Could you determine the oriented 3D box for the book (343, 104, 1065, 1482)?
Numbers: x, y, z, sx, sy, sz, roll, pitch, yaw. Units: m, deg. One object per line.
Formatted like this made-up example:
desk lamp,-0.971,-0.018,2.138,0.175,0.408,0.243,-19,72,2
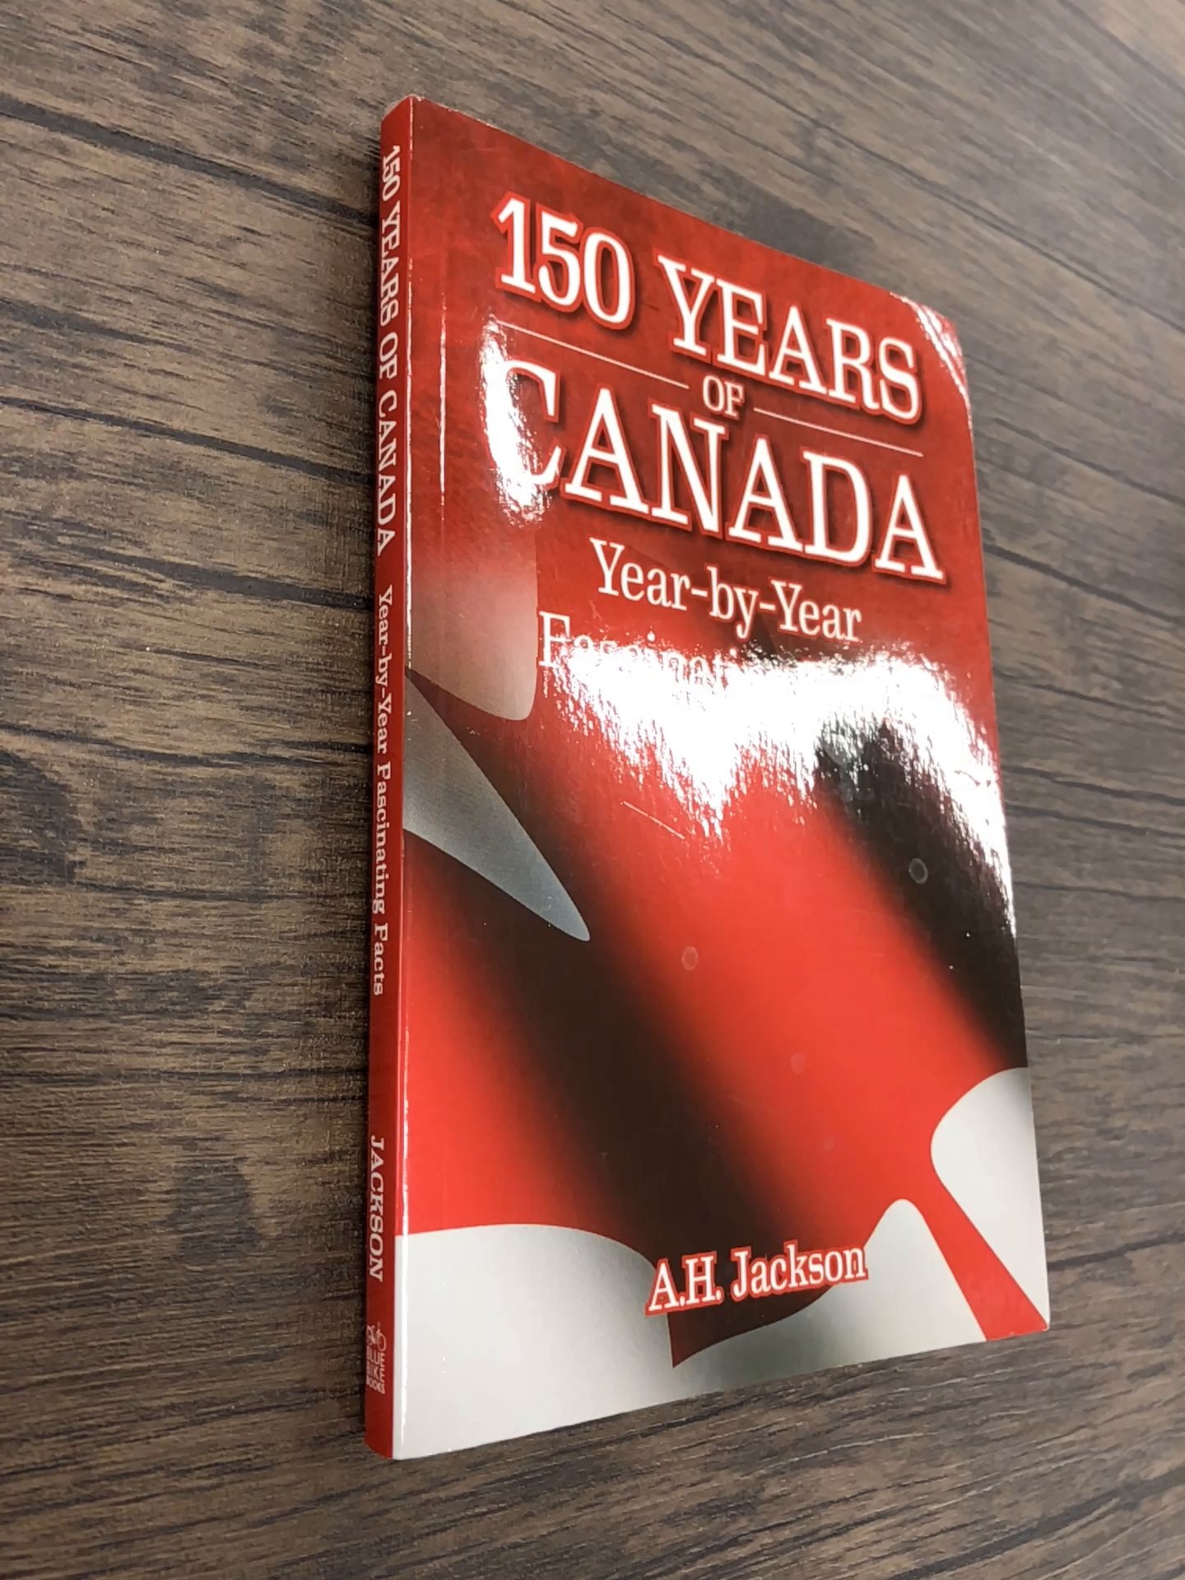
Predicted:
book,0.022,-0.002,0.240,0.131,0.025,0.206,4,79,-31
